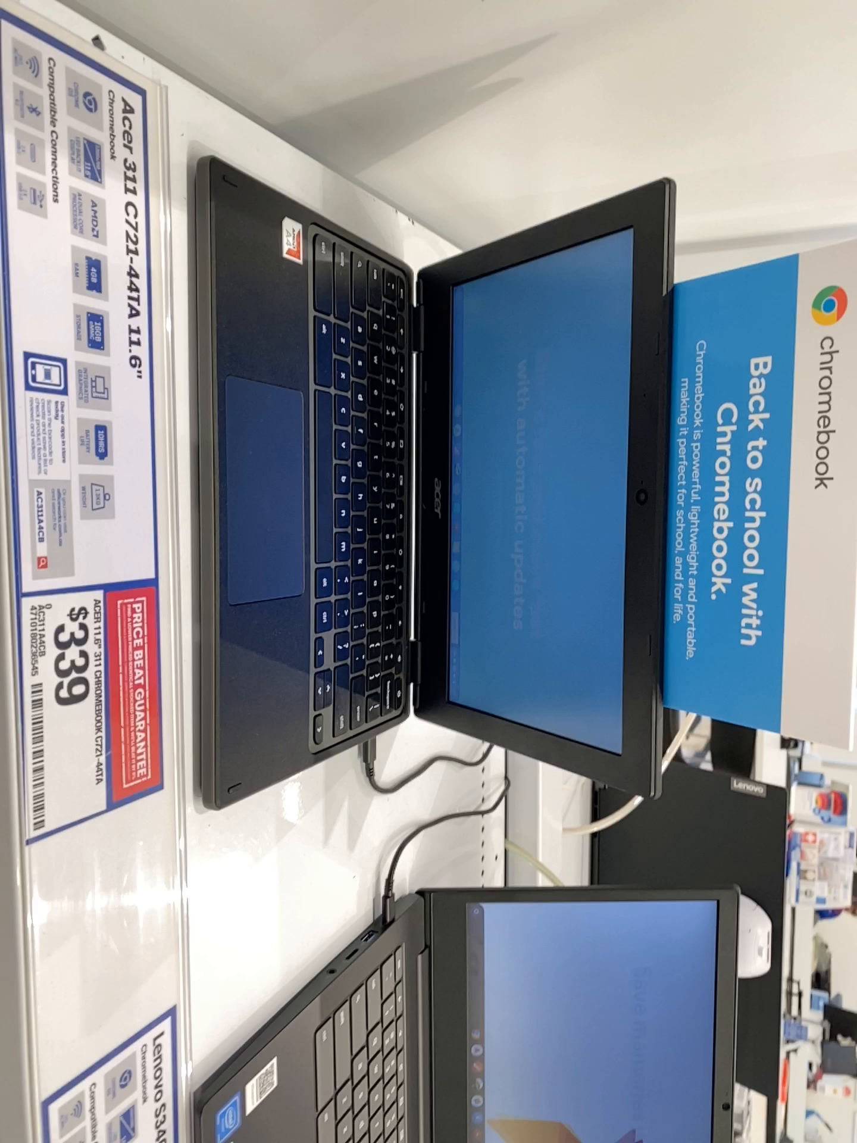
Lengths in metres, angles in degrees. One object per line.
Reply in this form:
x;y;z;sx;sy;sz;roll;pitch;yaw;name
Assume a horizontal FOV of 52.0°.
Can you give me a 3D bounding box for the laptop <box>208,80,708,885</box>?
0.028;-0.037;0.446;0.202;0.181;0.289;-8;99;-64;laptop
